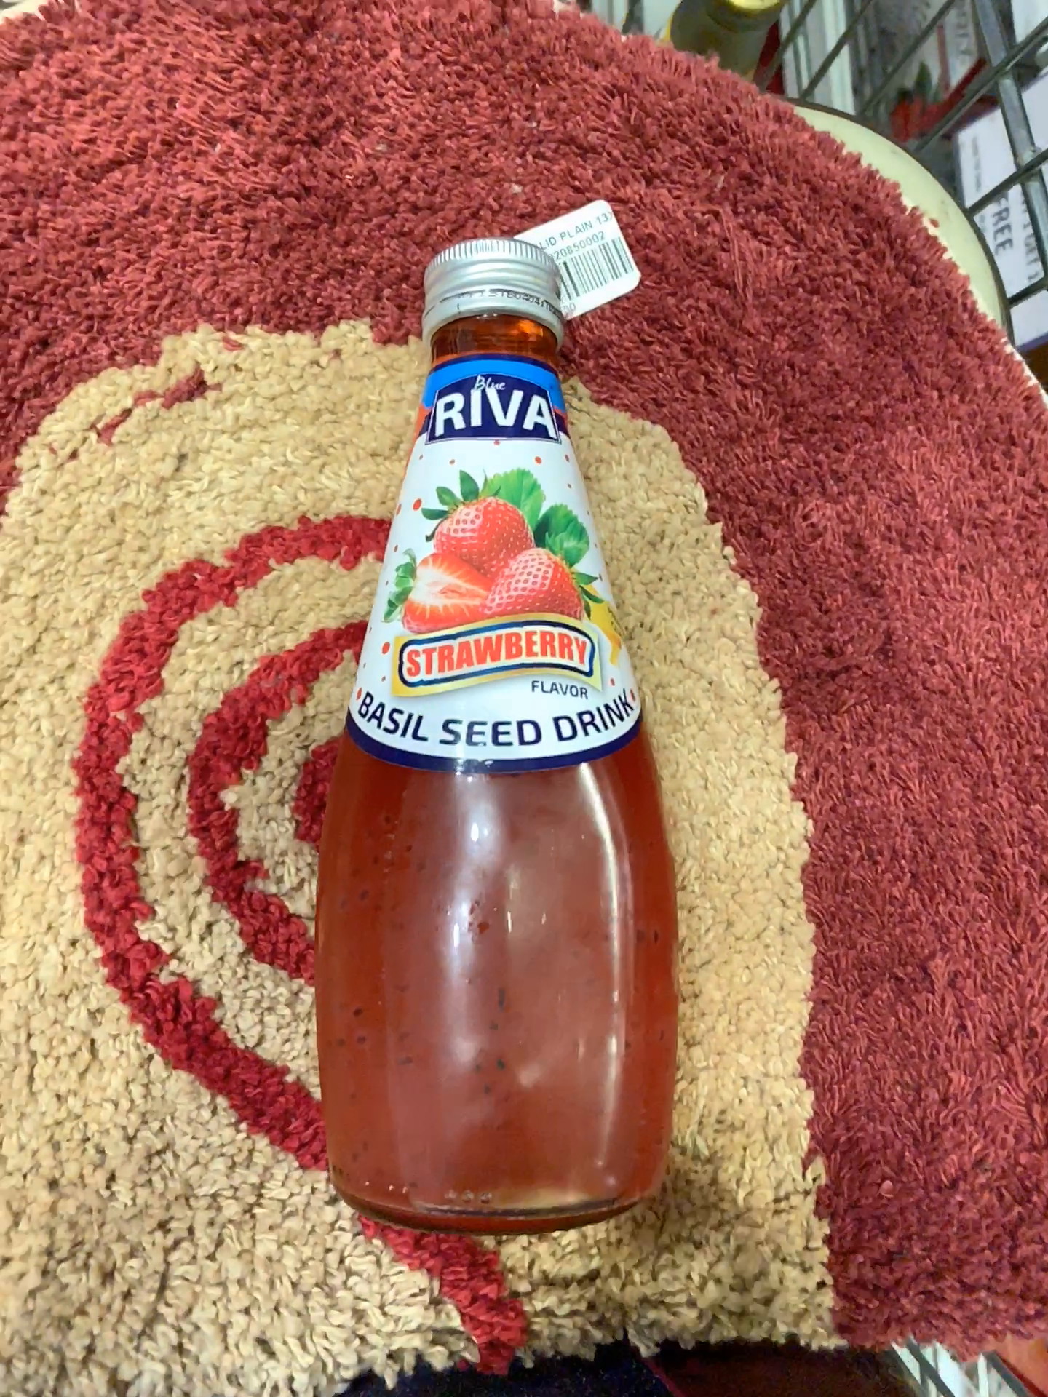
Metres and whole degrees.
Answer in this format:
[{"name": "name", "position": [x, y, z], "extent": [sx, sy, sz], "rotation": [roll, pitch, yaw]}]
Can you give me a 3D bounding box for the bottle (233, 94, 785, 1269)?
[{"name": "bottle", "position": [-0.004, -0.005, 0.175], "extent": [0.070, 0.050, 0.160], "rotation": [1, 80, -8]}]
